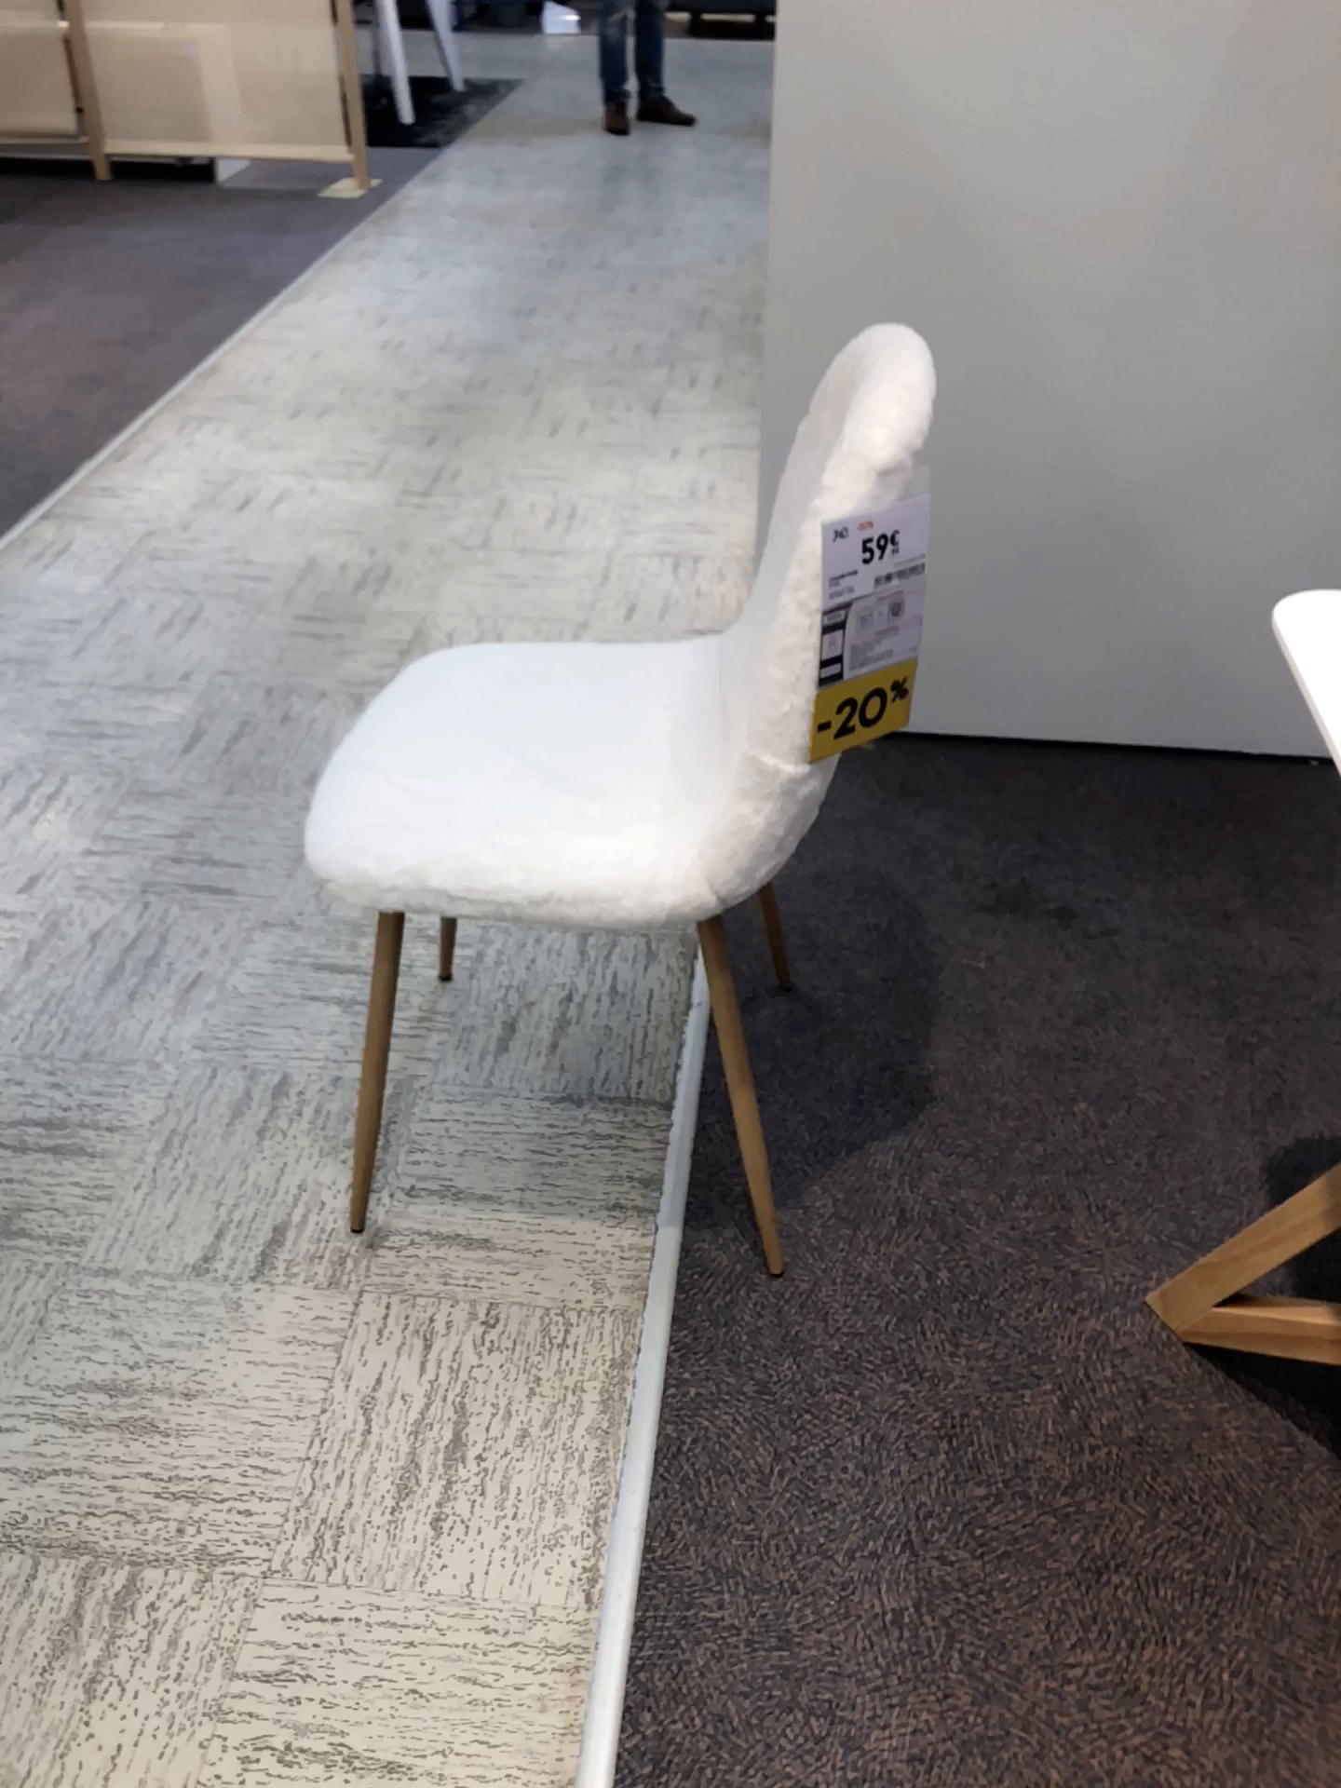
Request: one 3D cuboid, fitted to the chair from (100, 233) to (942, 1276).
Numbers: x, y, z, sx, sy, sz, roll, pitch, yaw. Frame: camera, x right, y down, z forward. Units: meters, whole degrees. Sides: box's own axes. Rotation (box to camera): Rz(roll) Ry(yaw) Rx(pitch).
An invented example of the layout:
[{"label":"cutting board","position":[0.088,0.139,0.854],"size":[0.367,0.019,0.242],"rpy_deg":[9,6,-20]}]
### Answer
[{"label":"chair","position":[-0.086,-0.126,1.406],"size":[0.550,0.815,0.523],"rpy_deg":[3,37,3]}]
